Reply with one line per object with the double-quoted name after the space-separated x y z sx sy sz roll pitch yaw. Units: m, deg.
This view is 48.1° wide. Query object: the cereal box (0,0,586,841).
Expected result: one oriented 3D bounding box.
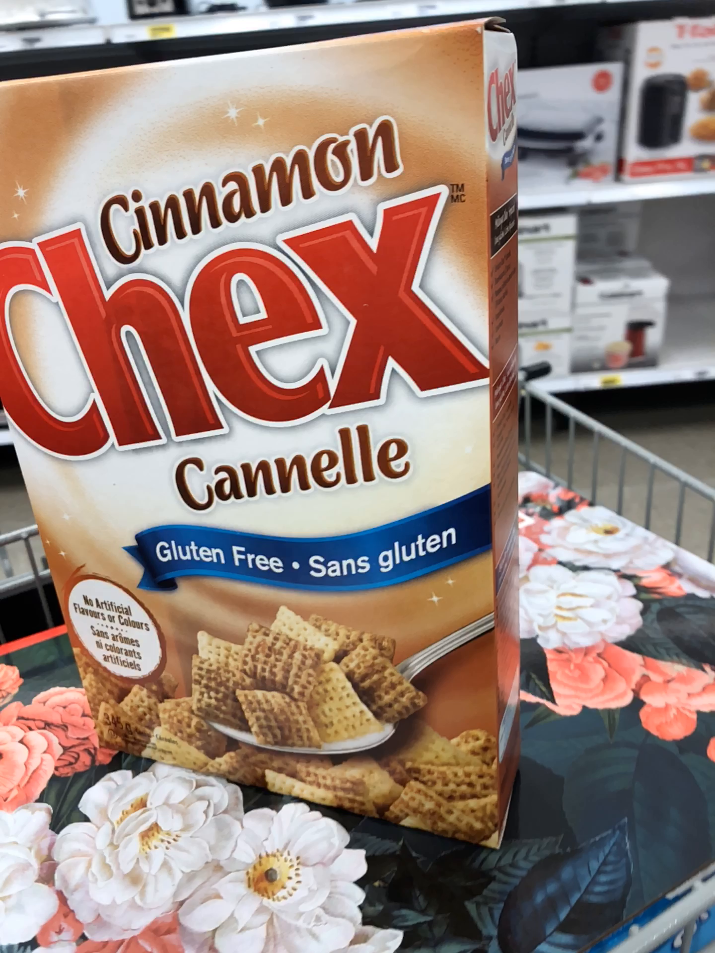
-0.033 -0.012 0.290 0.200 0.259 0.060 6 24 18 "cereal box"
